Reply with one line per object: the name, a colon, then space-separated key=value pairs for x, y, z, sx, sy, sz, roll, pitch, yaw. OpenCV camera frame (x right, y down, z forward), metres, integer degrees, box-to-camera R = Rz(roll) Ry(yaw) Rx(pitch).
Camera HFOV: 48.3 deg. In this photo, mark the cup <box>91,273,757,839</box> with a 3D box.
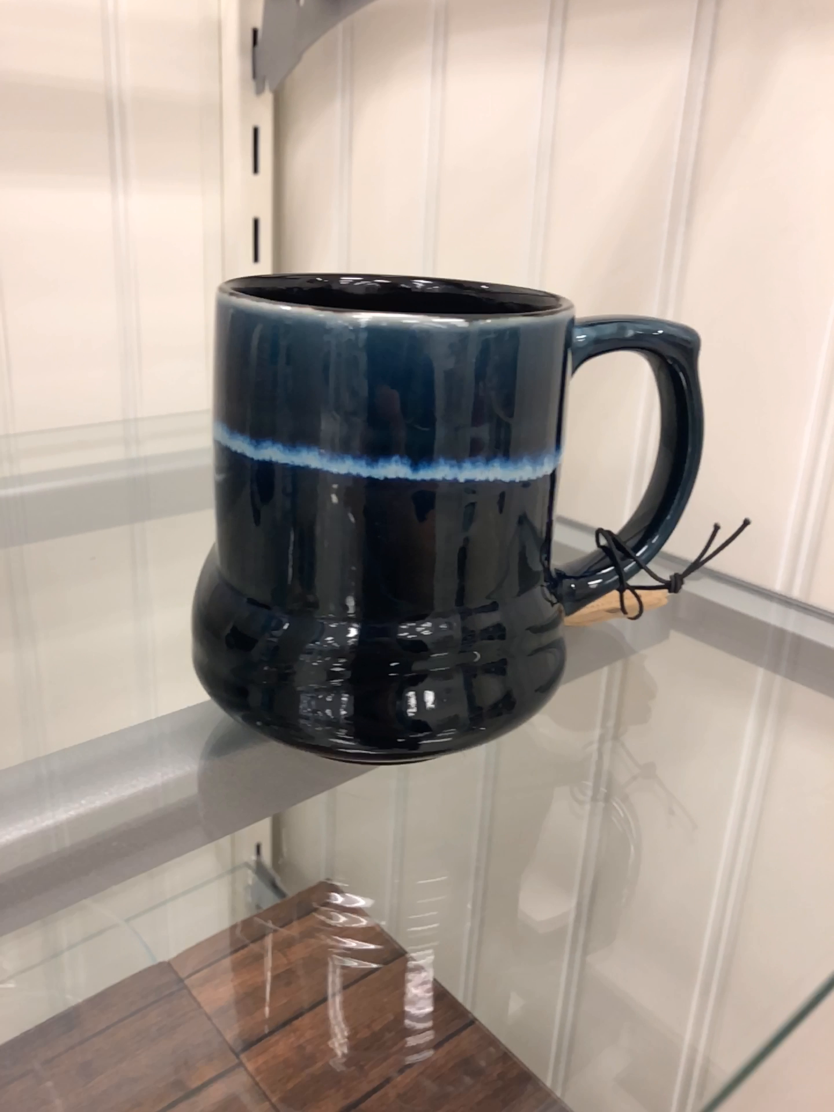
cup: x=-0.006 y=-0.014 z=0.255 sx=0.140 sy=0.109 sz=0.101 roll=-6 pitch=23 yaw=-24
